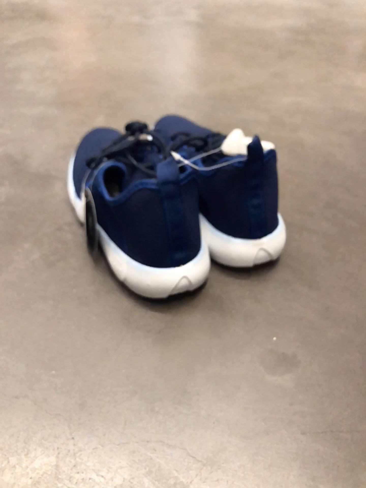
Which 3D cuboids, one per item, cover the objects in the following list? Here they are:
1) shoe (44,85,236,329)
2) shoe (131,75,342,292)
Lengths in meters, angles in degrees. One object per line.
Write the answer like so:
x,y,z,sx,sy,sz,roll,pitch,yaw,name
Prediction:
-0.054,-0.054,0.377,0.090,0.089,0.241,-14,43,-19,shoe
0.030,-0.078,0.410,0.090,0.089,0.241,-14,43,-19,shoe
